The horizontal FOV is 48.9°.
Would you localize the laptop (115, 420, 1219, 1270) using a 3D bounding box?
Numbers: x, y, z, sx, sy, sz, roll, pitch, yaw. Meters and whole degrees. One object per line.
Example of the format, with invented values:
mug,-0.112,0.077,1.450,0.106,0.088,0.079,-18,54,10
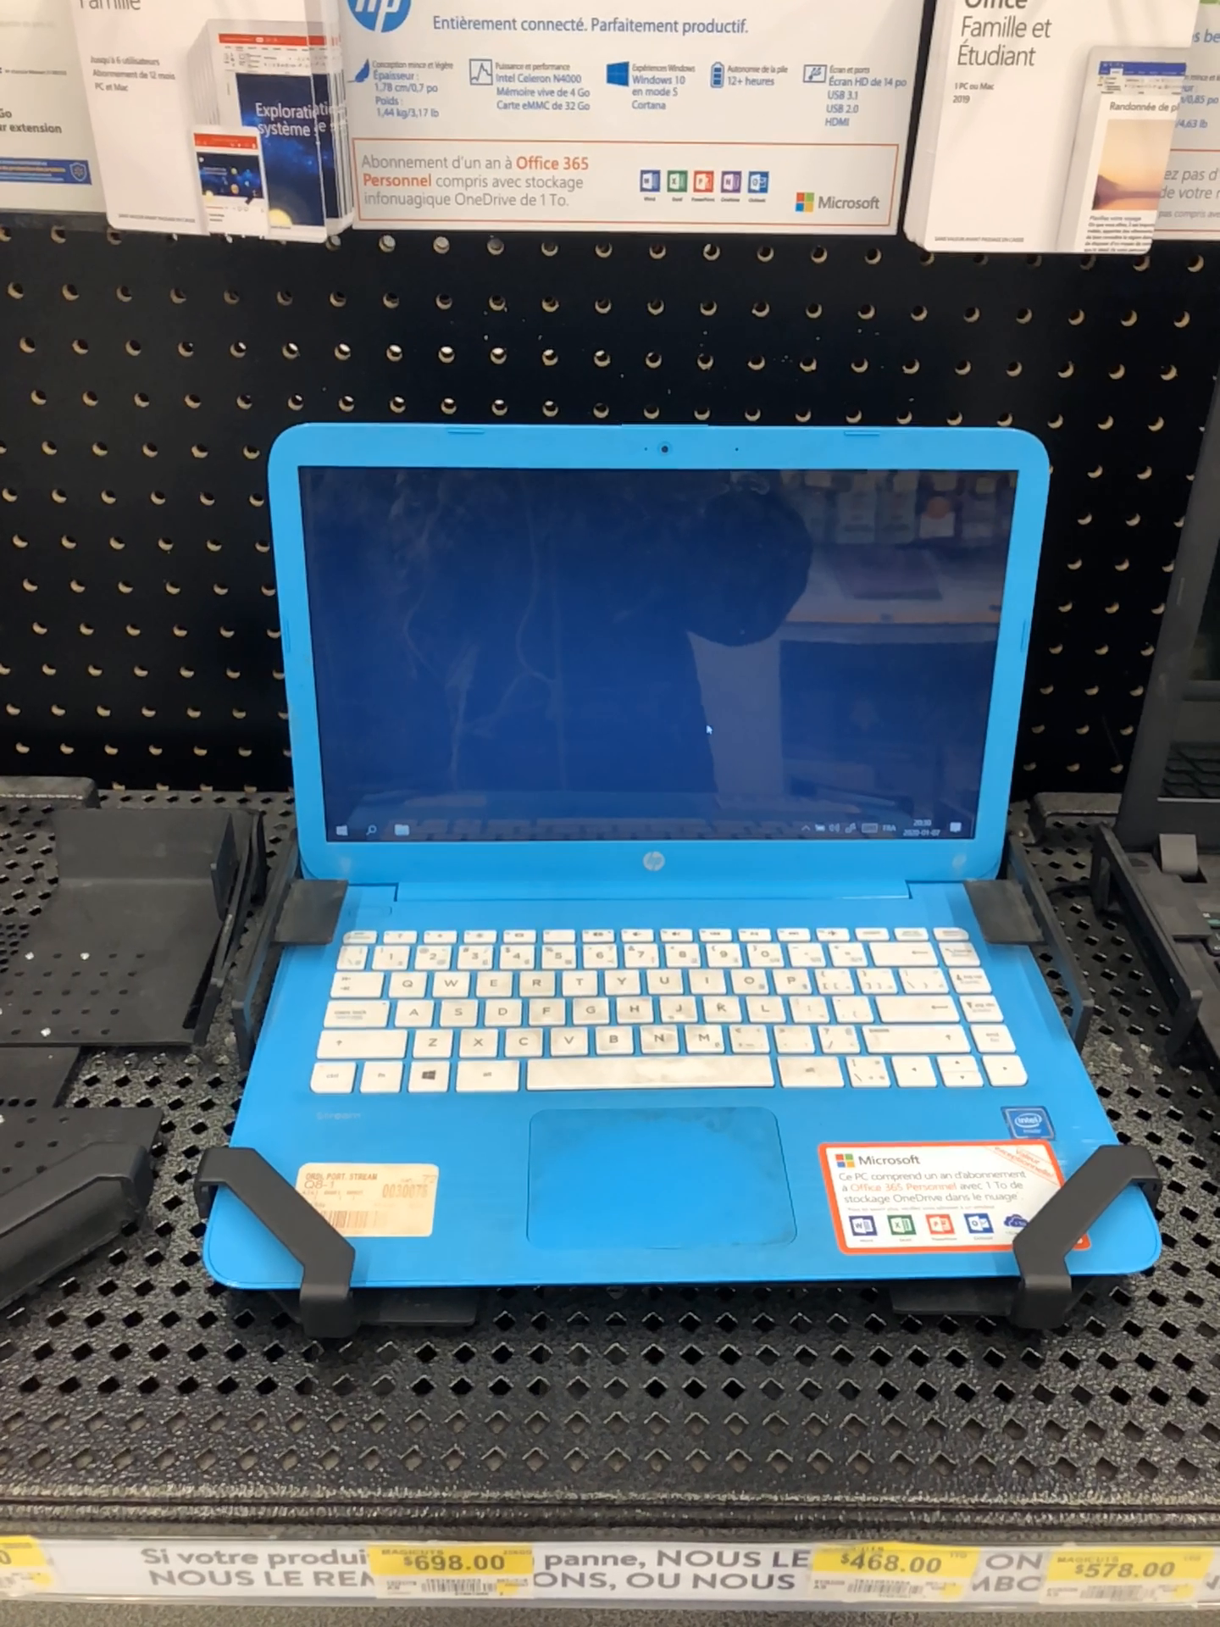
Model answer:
laptop,0.024,-0.006,0.514,0.318,0.197,0.270,0,34,-1
